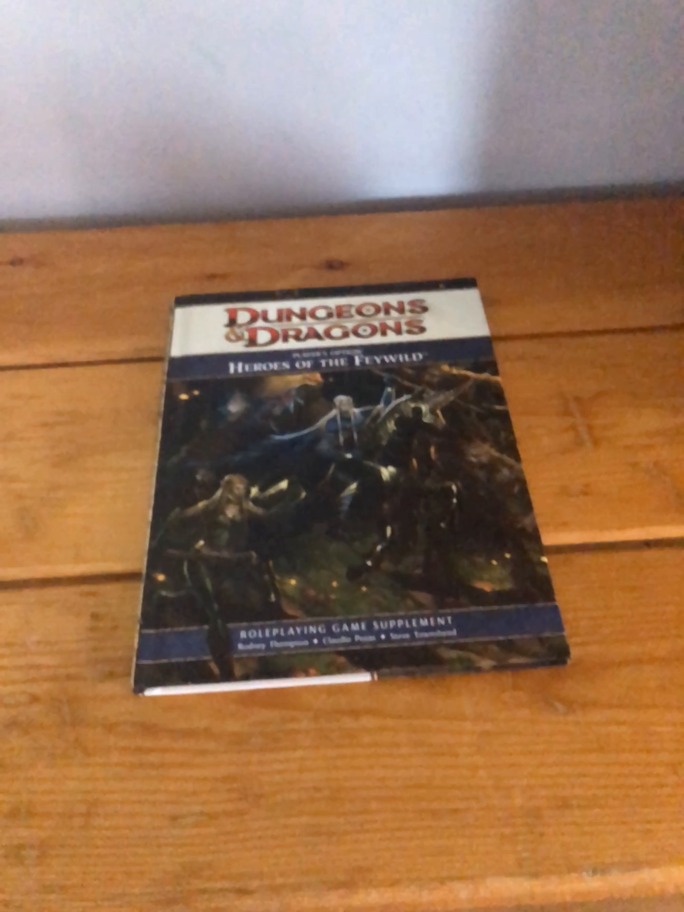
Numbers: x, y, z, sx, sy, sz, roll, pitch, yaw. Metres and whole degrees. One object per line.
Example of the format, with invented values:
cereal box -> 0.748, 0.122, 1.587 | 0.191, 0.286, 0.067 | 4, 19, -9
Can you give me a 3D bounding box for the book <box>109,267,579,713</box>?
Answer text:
book -> -0.007, -0.002, 0.446 | 0.220, 0.020, 0.280 | -4, 55, 0
